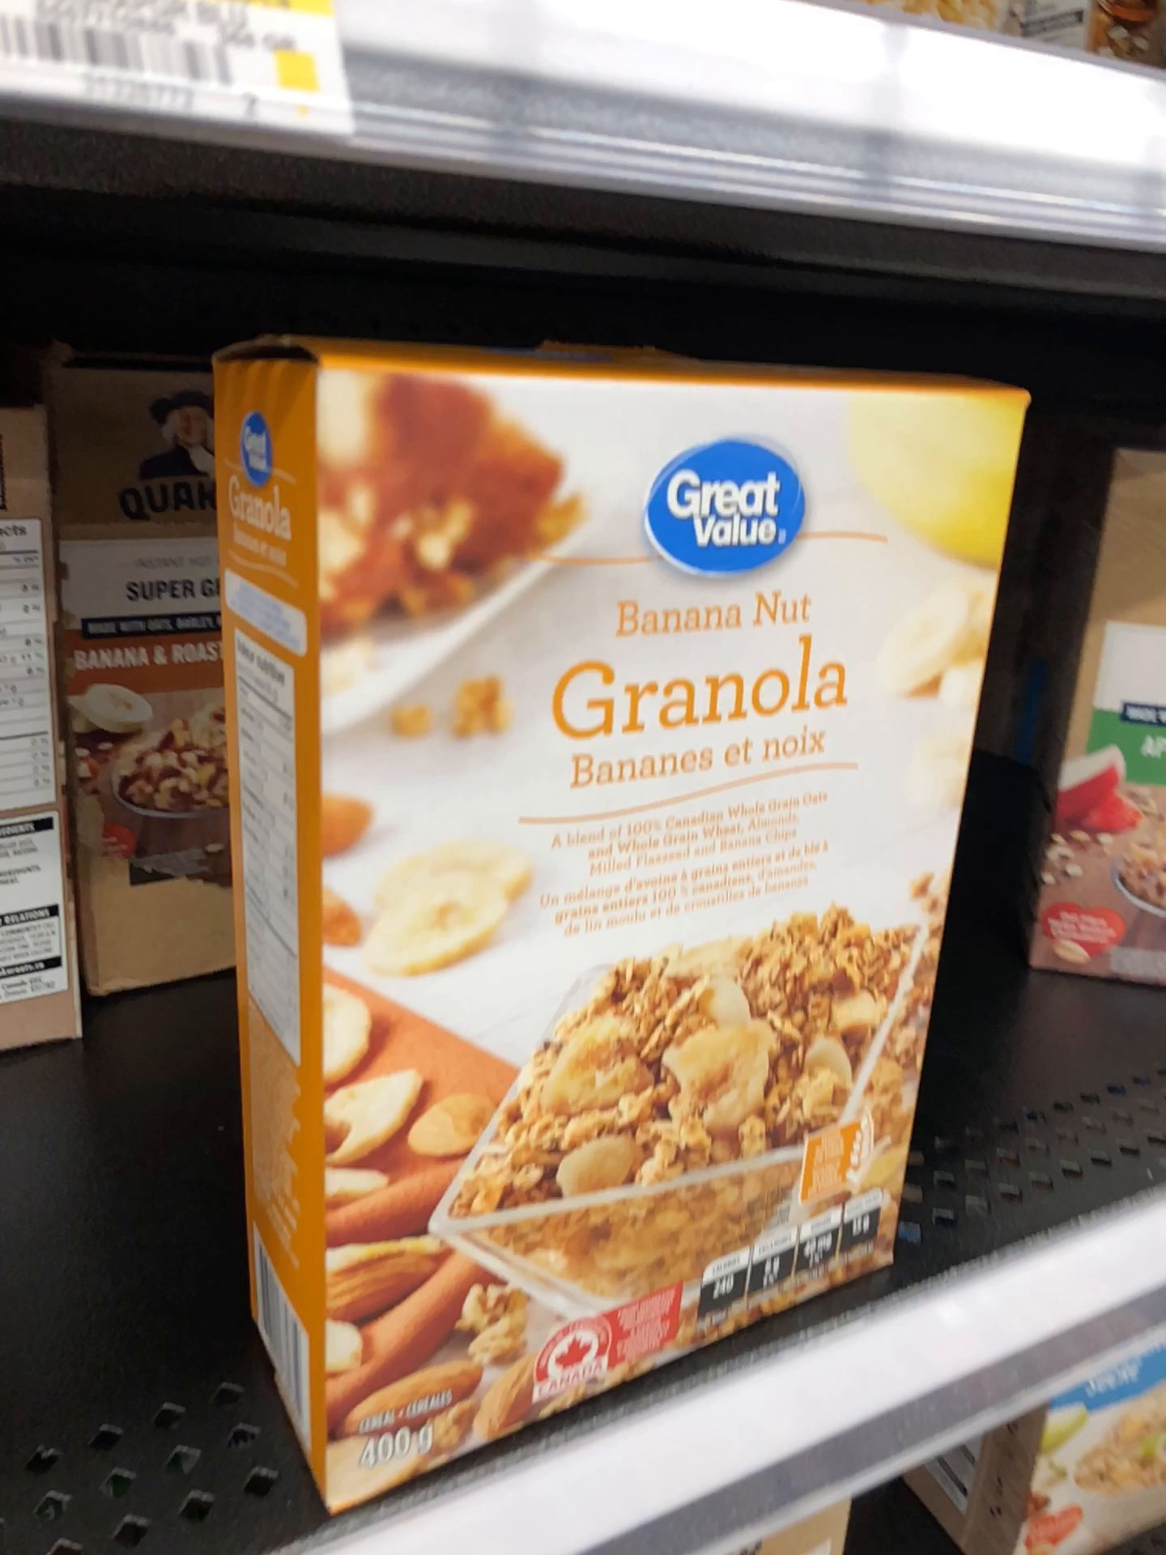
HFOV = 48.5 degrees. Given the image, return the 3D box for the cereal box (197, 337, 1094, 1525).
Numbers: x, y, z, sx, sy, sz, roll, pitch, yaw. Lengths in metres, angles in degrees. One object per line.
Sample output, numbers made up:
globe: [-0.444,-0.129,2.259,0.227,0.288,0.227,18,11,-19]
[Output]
cereal box: [0.011,0.022,0.273,0.160,0.209,0.060,-8,22,-30]
